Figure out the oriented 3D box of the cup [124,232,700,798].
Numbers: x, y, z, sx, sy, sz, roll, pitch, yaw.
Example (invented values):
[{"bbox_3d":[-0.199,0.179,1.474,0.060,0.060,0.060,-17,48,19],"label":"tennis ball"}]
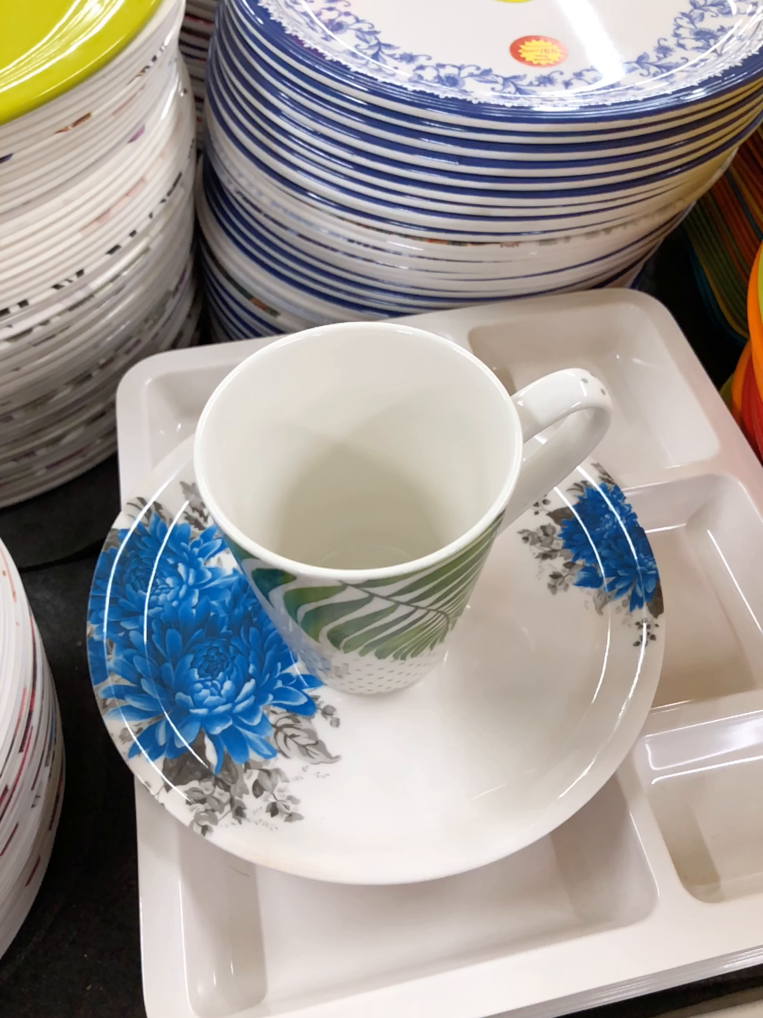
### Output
[{"bbox_3d":[0.009,0.001,0.248,0.120,0.090,0.080,-35,63,-22],"label":"cup"}]
